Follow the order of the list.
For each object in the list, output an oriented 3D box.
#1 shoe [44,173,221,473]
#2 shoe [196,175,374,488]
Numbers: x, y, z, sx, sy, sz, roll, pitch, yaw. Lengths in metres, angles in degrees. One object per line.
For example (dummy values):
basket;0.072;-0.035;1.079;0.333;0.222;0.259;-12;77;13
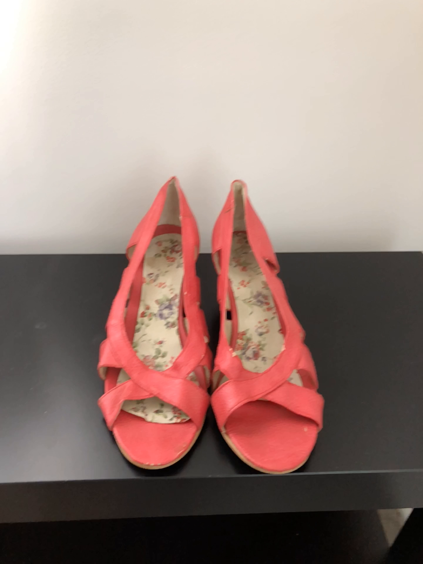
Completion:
shoe;-0.048;0.012;0.351;0.087;0.100;0.221;-1;37;-4
shoe;0.033;0.016;0.351;0.077;0.100;0.231;-1;37;-4
